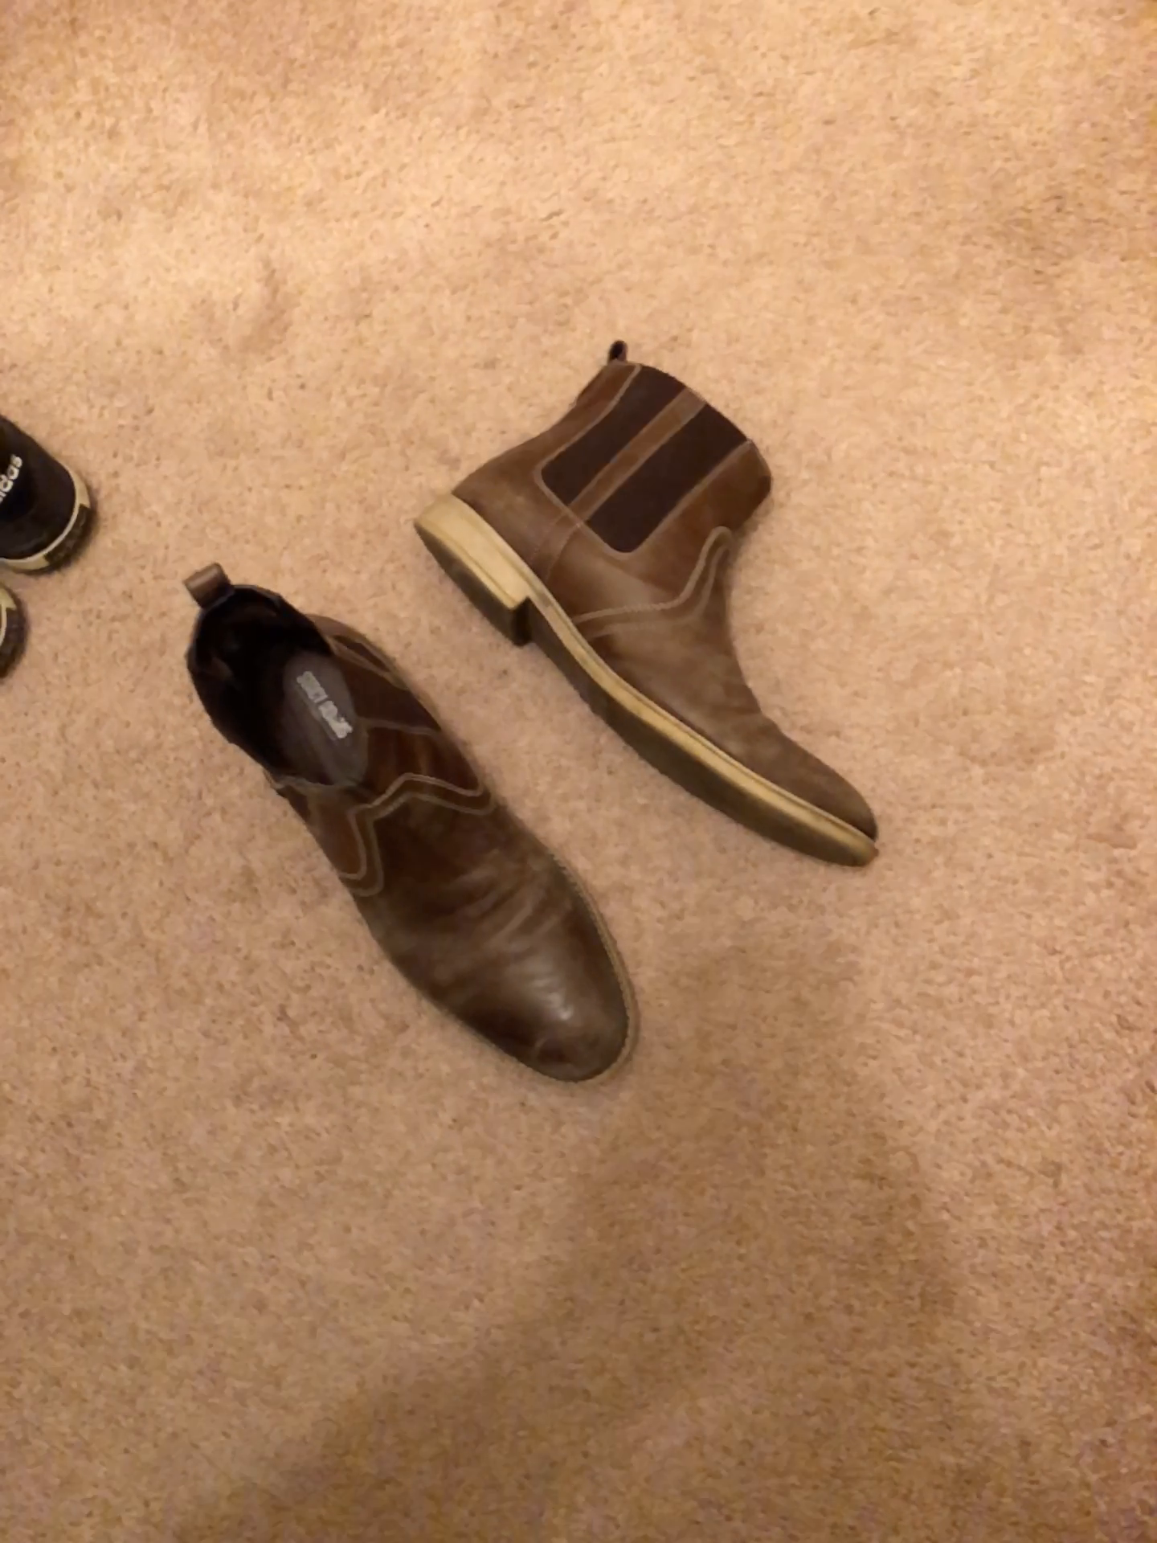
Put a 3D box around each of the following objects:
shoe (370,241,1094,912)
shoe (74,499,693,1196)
[{"bbox_3d":[0.076,-0.100,0.691,0.314,0.115,0.186,41,87,10],"label":"shoe"},{"bbox_3d":[-0.086,0.040,0.649,0.115,0.176,0.308,-39,79,-3],"label":"shoe"}]
